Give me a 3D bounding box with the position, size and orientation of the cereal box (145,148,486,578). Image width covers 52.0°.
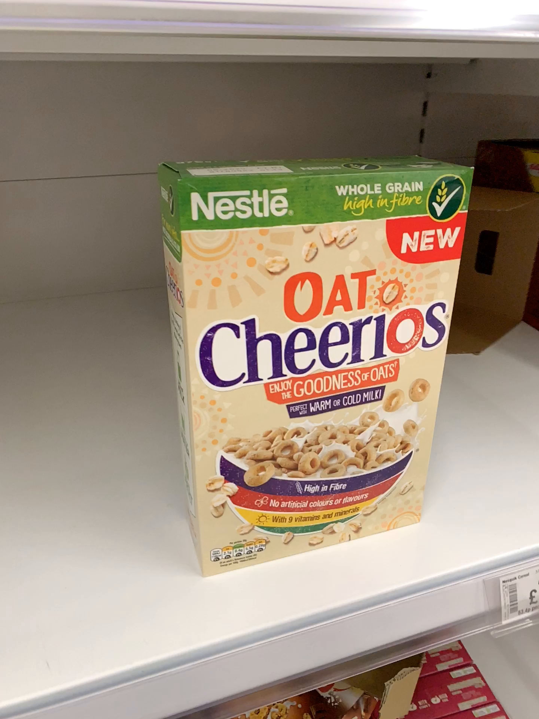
[{"bbox_3d":[0.028,0.005,0.408,0.200,0.287,0.071,-8,27,-16],"label":"cereal box"}]
